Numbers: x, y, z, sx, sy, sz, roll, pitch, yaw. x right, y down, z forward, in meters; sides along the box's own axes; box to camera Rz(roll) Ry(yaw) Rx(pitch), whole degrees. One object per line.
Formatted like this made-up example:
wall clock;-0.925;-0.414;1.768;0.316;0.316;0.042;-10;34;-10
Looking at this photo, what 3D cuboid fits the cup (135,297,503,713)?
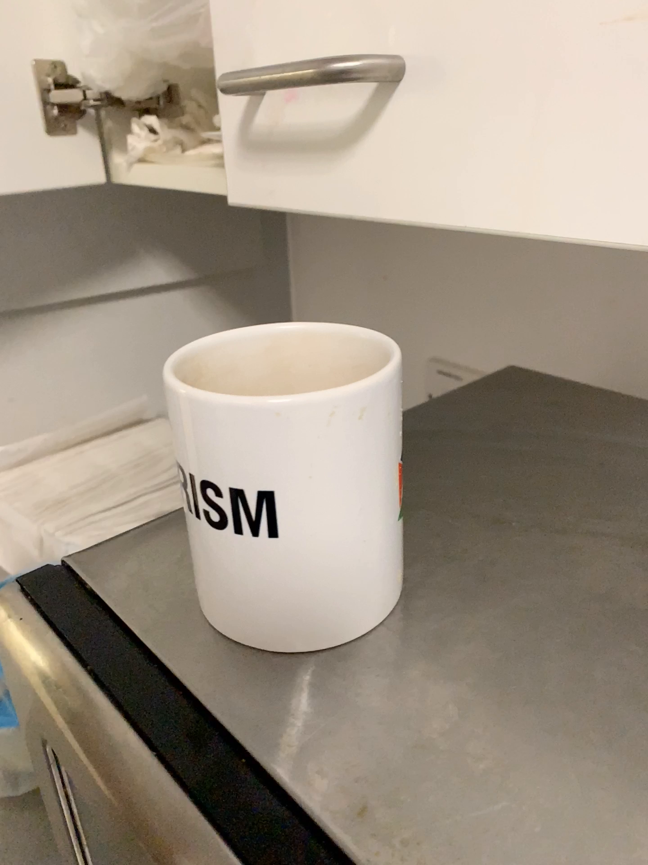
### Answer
cup;-0.008;0.014;0.260;0.094;0.099;0.114;-12;25;-21
